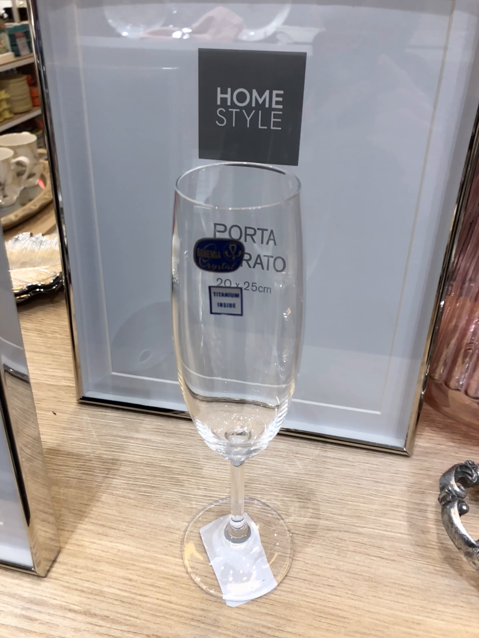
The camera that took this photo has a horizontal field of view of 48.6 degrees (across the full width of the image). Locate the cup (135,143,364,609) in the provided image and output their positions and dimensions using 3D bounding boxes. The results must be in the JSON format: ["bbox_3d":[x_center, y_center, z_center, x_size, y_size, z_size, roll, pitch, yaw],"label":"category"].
[{"bbox_3d":[0.007,0.039,0.251,0.070,0.218,0.071,0,34,0],"label":"cup"}]
